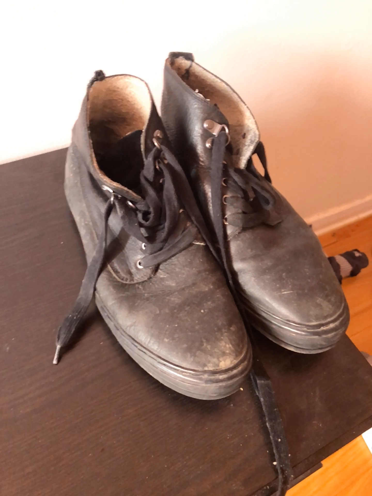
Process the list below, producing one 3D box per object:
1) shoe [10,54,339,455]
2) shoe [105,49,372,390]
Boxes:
[{"bbox_3d":[-0.040,-0.024,0.367,0.120,0.109,0.342,-20,58,-20],"label":"shoe"},{"bbox_3d":[0.050,-0.053,0.416,0.120,0.109,0.342,-24,60,-22],"label":"shoe"}]
